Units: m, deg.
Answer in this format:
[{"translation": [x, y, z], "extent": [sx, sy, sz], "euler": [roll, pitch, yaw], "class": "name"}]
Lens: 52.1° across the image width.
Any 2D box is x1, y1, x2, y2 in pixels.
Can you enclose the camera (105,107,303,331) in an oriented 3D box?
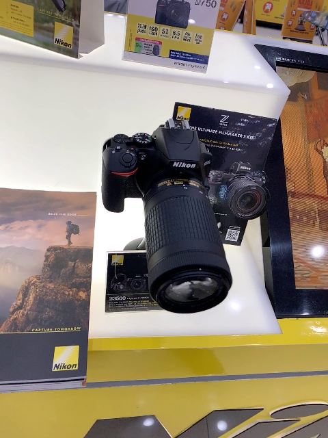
[{"translation": [0.013, -0.010, 0.312], "extent": [0.120, 0.100, 0.181], "euler": [-1, 45, -14], "class": "camera"}]
